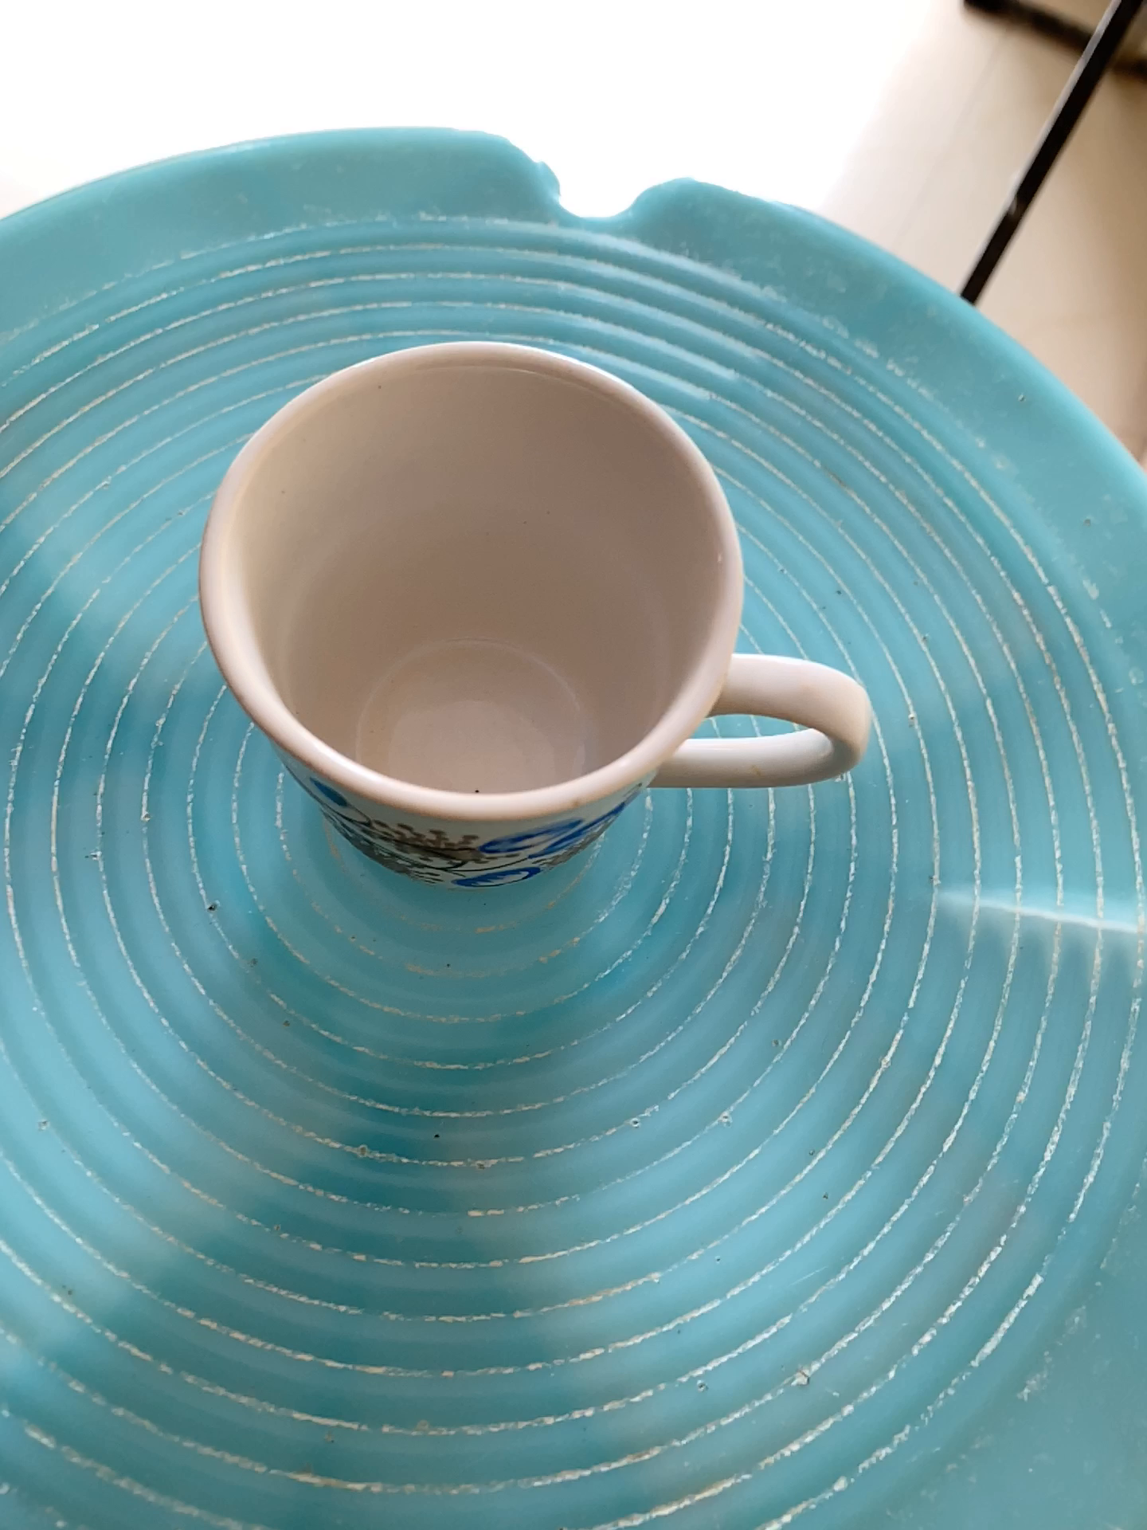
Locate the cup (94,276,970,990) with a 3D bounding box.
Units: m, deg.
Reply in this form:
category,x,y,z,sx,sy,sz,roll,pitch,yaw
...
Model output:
category,x,y,z,sx,sy,sz,roll,pitch,yaw
cup,-0.004,-0.013,0.164,0.090,0.060,0.070,4,68,-4
